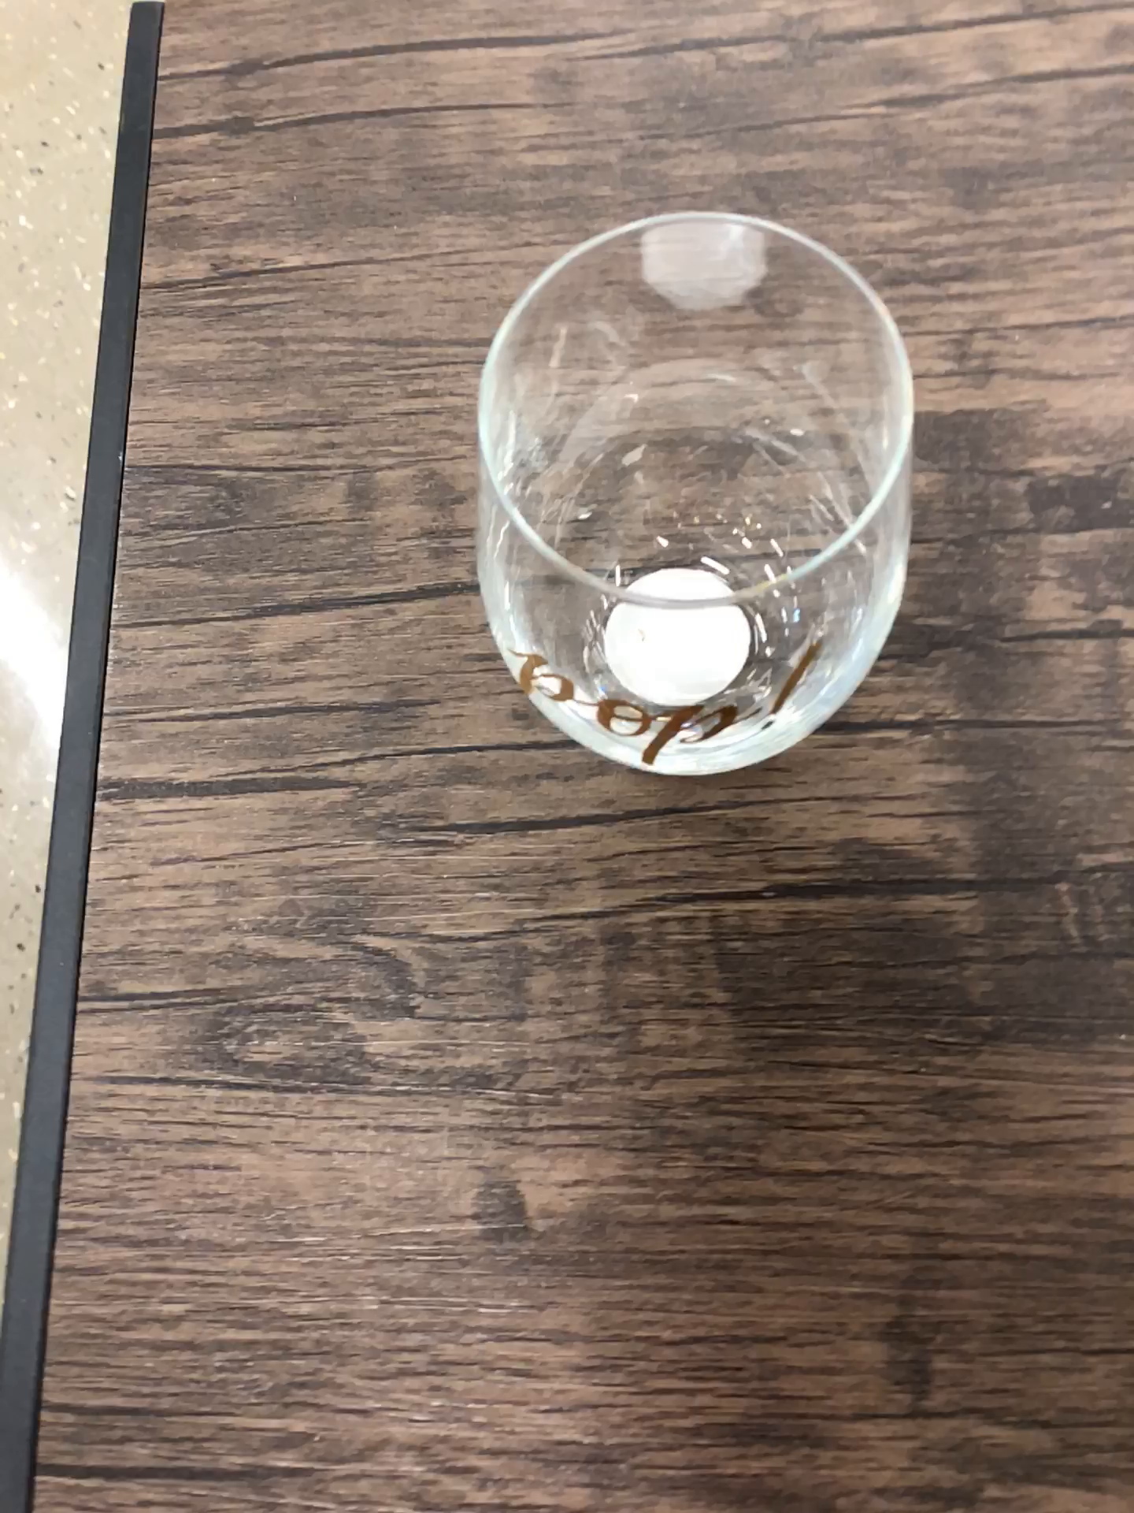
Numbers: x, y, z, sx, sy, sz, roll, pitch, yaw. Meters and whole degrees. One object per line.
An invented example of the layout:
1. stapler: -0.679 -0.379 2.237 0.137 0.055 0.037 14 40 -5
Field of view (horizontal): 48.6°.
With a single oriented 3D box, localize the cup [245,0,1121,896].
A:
1. cup: 0.022 -0.051 0.266 0.100 0.130 0.100 -1 74 5
